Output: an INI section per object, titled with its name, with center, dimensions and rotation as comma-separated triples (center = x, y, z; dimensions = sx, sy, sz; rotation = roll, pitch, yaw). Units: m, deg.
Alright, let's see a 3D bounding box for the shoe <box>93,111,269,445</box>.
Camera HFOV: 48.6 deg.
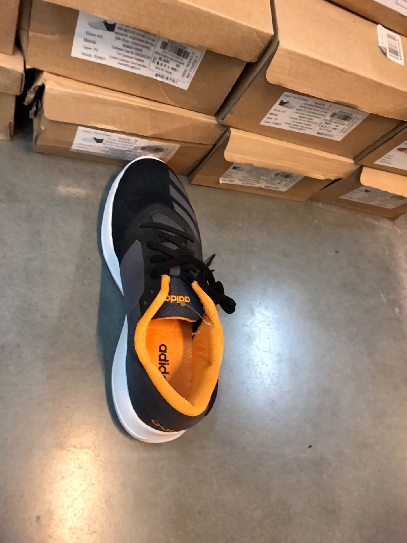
[shoe]
center = -0.032, 0.012, 0.419
dimensions = 0.110, 0.116, 0.271
rotation = 6, 69, -26
